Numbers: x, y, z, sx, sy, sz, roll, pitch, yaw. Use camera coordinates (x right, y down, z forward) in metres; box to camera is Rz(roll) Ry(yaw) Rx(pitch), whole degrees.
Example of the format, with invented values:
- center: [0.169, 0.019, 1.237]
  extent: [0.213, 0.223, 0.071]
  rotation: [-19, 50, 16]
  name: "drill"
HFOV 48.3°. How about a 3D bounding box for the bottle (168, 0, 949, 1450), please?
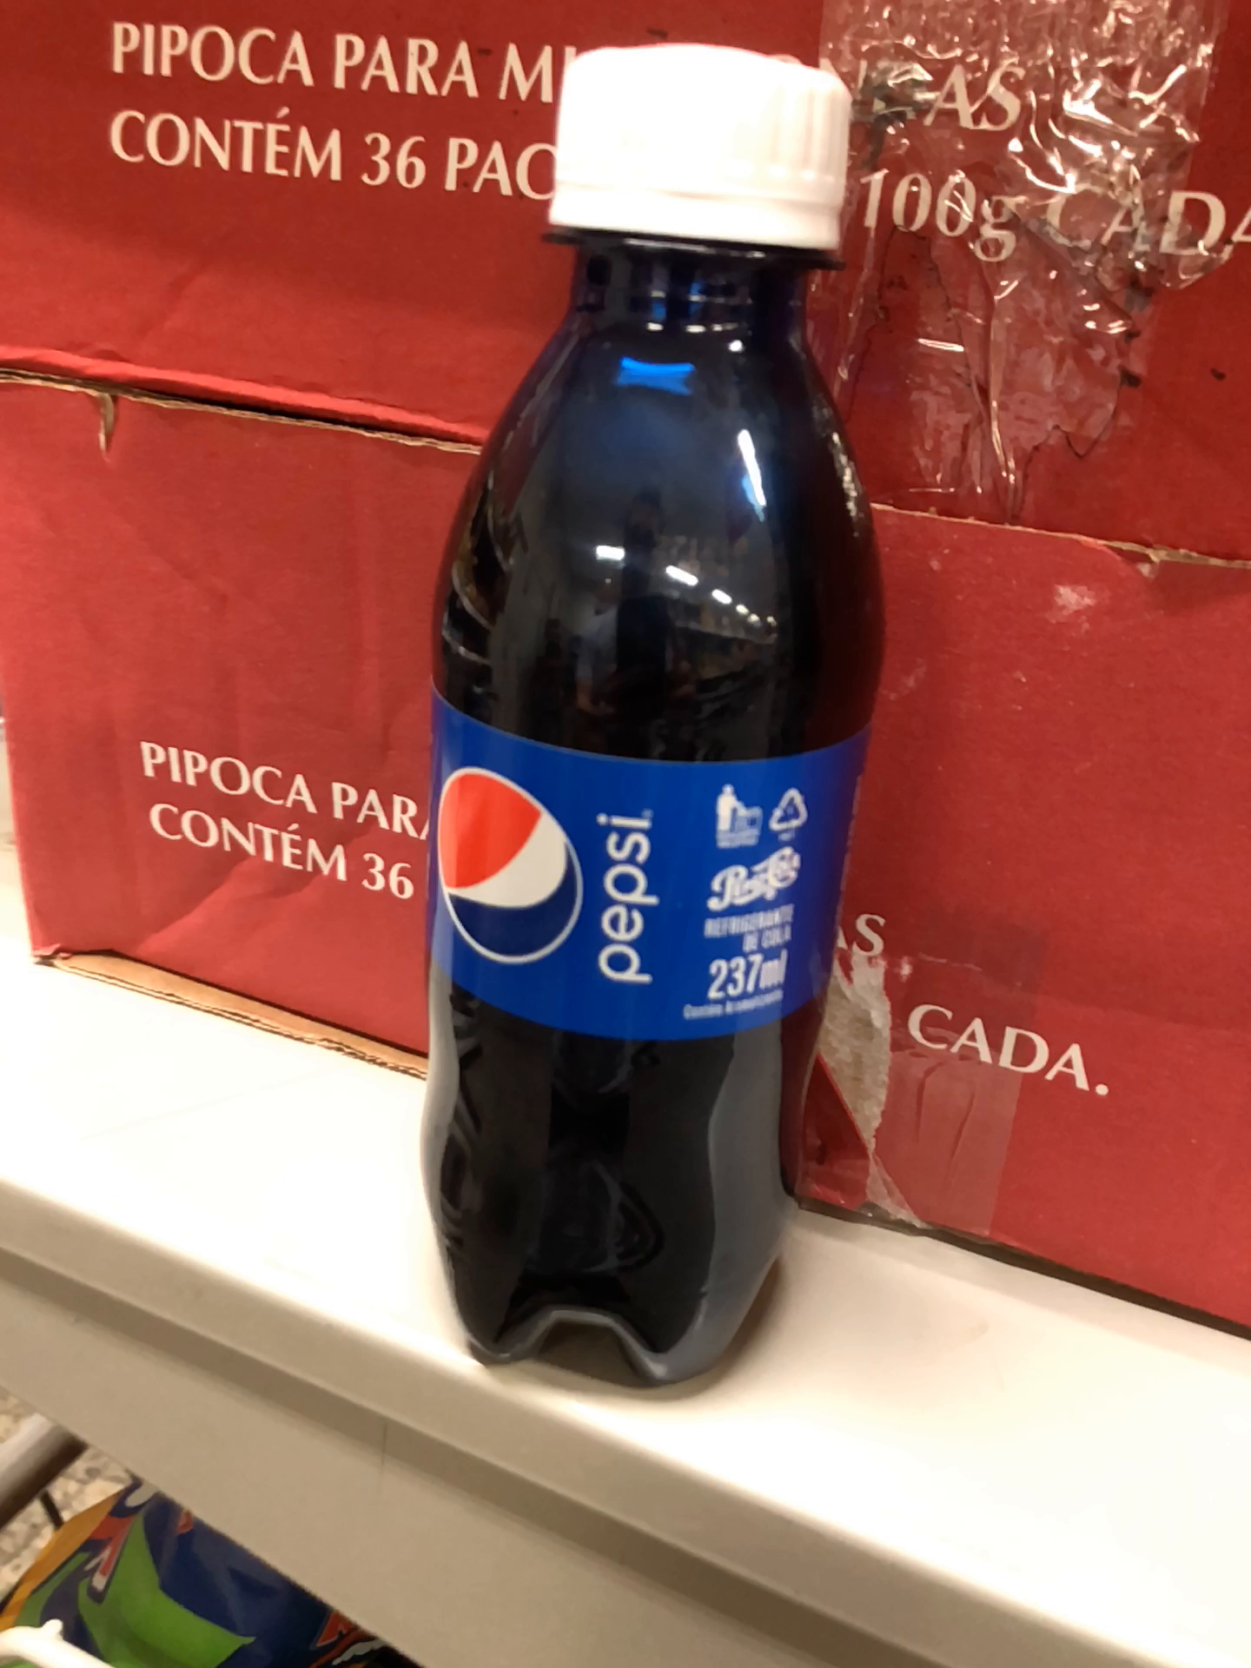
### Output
- center: [-0.004, -0.013, 0.170]
  extent: [0.060, 0.149, 0.060]
  rotation: [1, 22, -1]
  name: "bottle"
